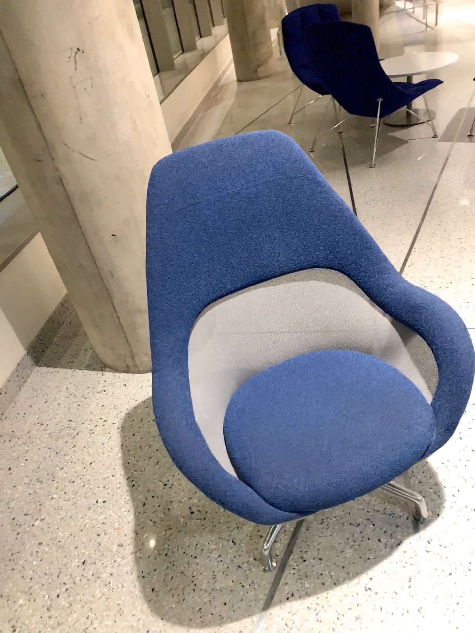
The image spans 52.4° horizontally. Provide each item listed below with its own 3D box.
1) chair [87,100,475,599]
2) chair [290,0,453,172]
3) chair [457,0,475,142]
[{"bbox_3d":[0.139,0.077,1.268,0.715,0.961,0.640,-16,35,-5],"label":"chair"},{"bbox_3d":[0.884,-1.565,3.226,0.696,0.853,0.683,-27,37,-20],"label":"chair"},{"bbox_3d":[1.884,-1.656,3.055,0.726,0.833,0.743,11,41,30],"label":"chair"}]
